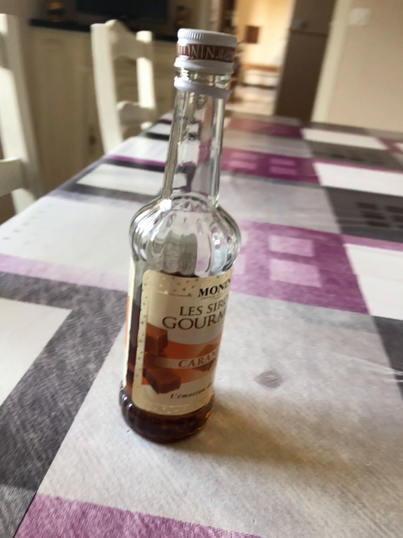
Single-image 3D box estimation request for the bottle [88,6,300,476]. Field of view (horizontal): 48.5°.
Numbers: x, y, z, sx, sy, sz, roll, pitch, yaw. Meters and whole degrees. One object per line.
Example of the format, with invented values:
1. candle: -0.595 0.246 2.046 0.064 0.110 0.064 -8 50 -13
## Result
1. bottle: -0.013 -0.006 0.256 0.070 0.239 0.070 5 27 -3
